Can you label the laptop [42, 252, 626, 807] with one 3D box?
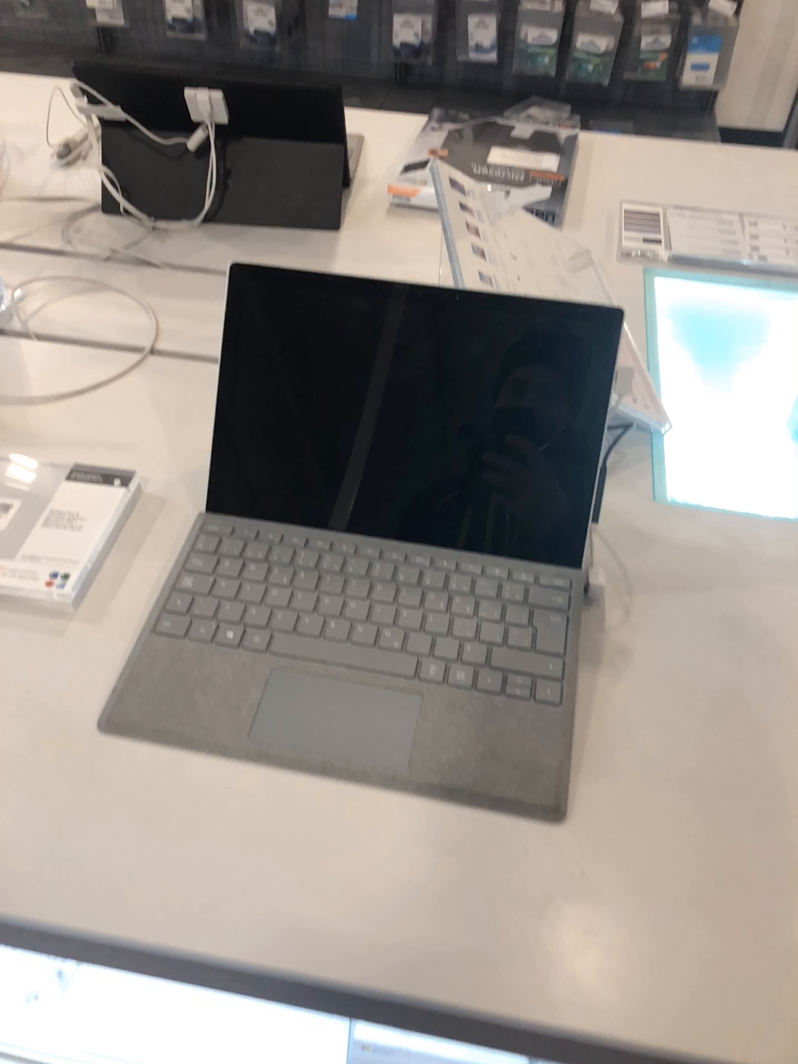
[{"bbox_3d":[-0.014,-0.021,0.573,0.278,0.147,0.298,9,48,7],"label":"laptop"}]
